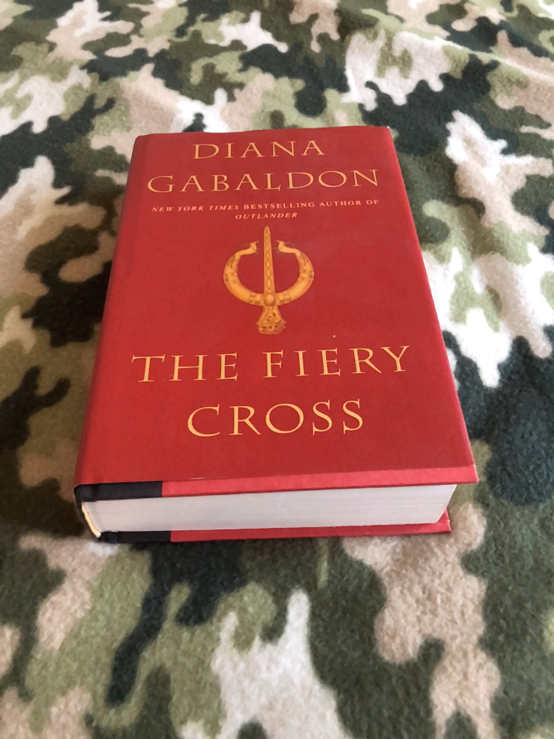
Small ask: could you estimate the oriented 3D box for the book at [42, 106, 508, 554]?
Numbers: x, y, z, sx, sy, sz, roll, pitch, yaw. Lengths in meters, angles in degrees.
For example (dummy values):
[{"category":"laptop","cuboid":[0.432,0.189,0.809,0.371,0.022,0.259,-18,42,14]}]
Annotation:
[{"category":"book","cuboid":[-0.005,-0.040,0.326,0.170,0.070,0.251,-1,53,-2]}]
